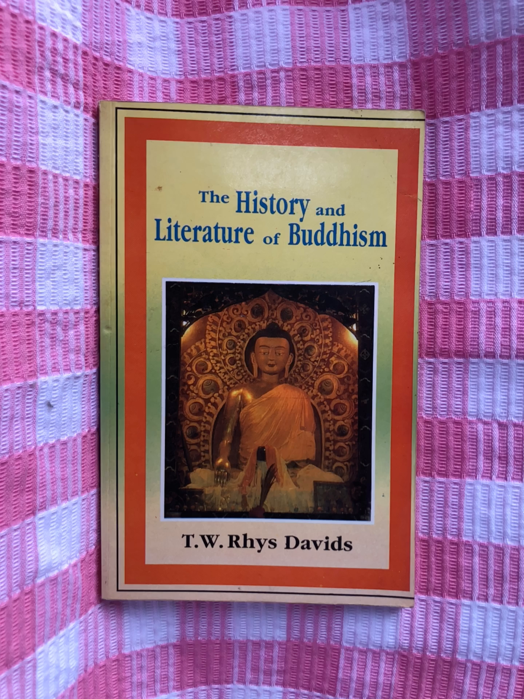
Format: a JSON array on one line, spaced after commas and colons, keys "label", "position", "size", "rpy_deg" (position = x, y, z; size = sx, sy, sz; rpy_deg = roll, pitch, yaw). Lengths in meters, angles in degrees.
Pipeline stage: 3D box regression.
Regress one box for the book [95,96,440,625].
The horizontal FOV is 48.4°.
[{"label": "book", "position": [0.000, 0.006, 0.257], "size": [0.020, 0.140, 0.220], "rpy_deg": [-62, 154, -86]}]
